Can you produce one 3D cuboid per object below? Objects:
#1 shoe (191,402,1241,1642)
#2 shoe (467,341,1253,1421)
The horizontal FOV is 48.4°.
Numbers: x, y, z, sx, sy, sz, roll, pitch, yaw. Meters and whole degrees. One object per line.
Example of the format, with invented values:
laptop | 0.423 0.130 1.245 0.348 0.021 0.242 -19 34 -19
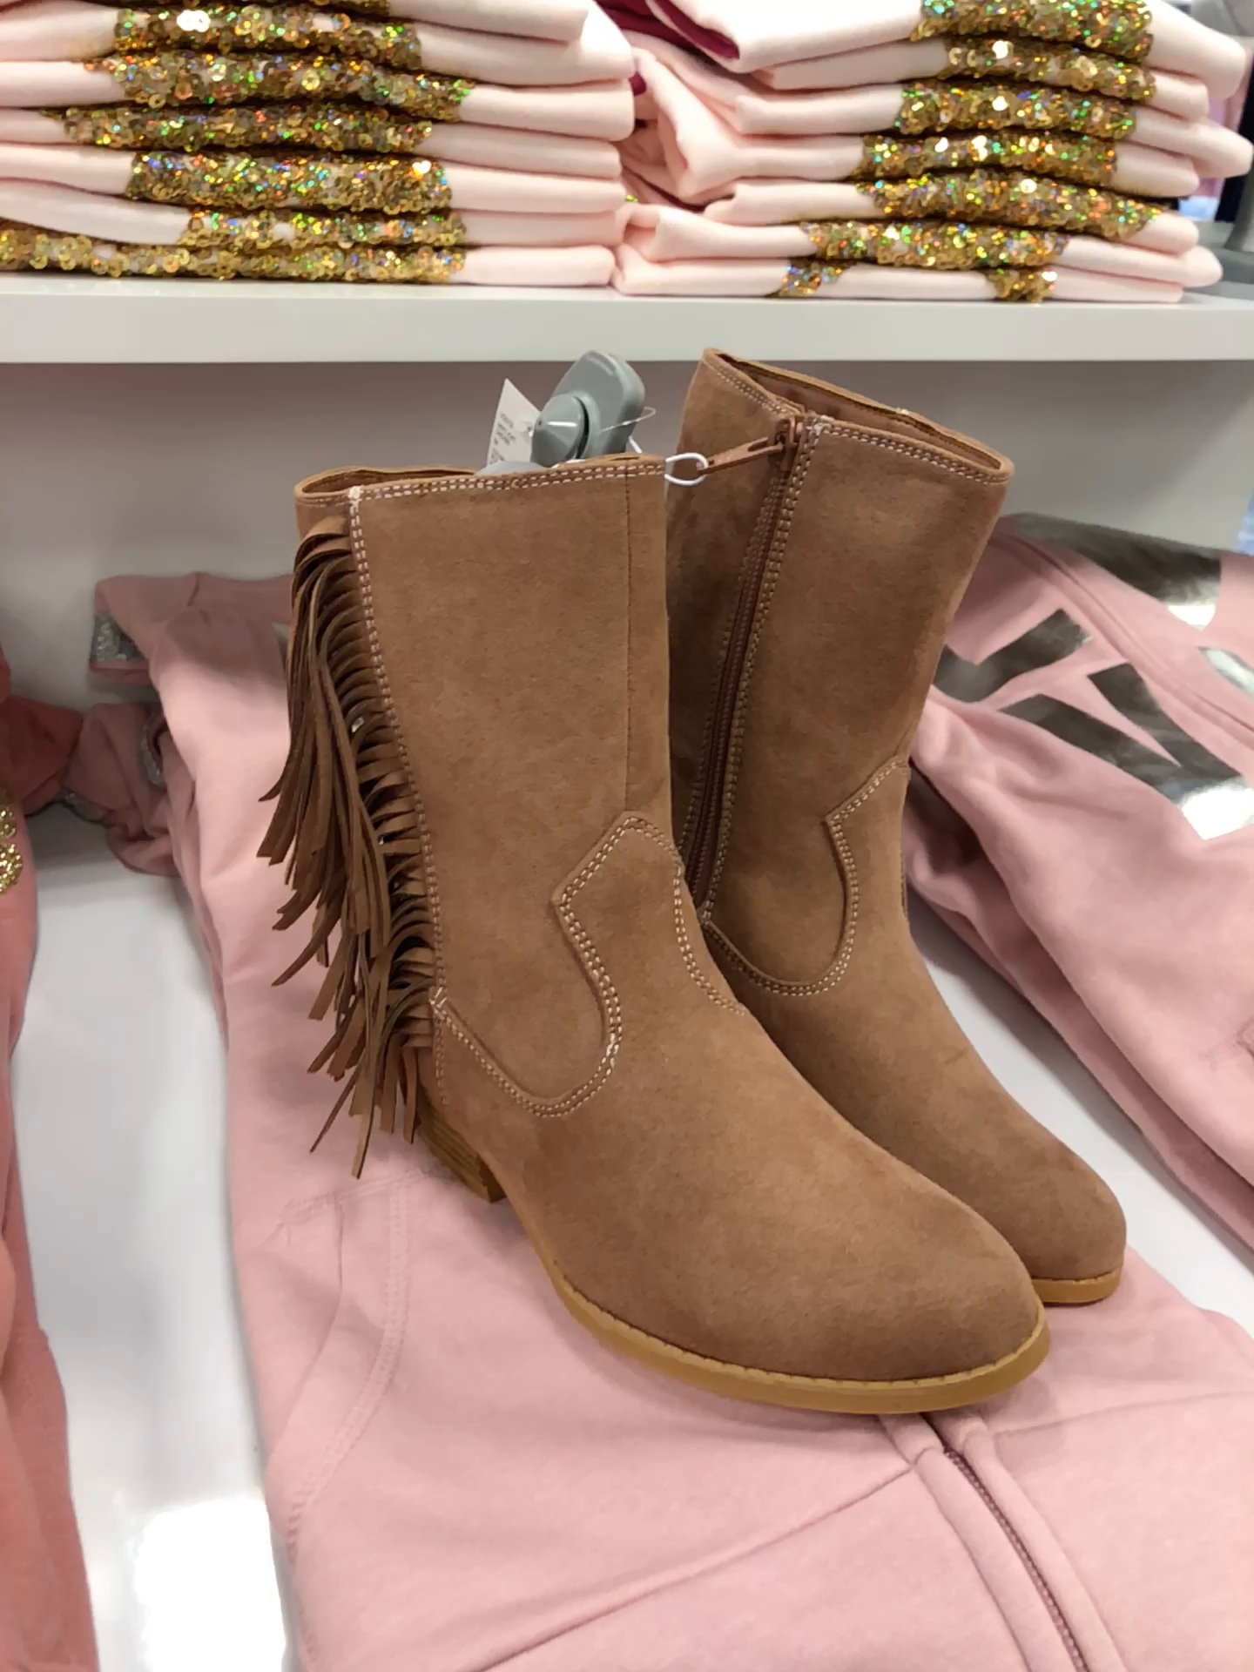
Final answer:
shoe | 0.003 0.020 0.321 0.092 0.199 0.200 -22 34 -38
shoe | 0.060 -0.004 0.374 0.092 0.199 0.211 -22 40 -38
